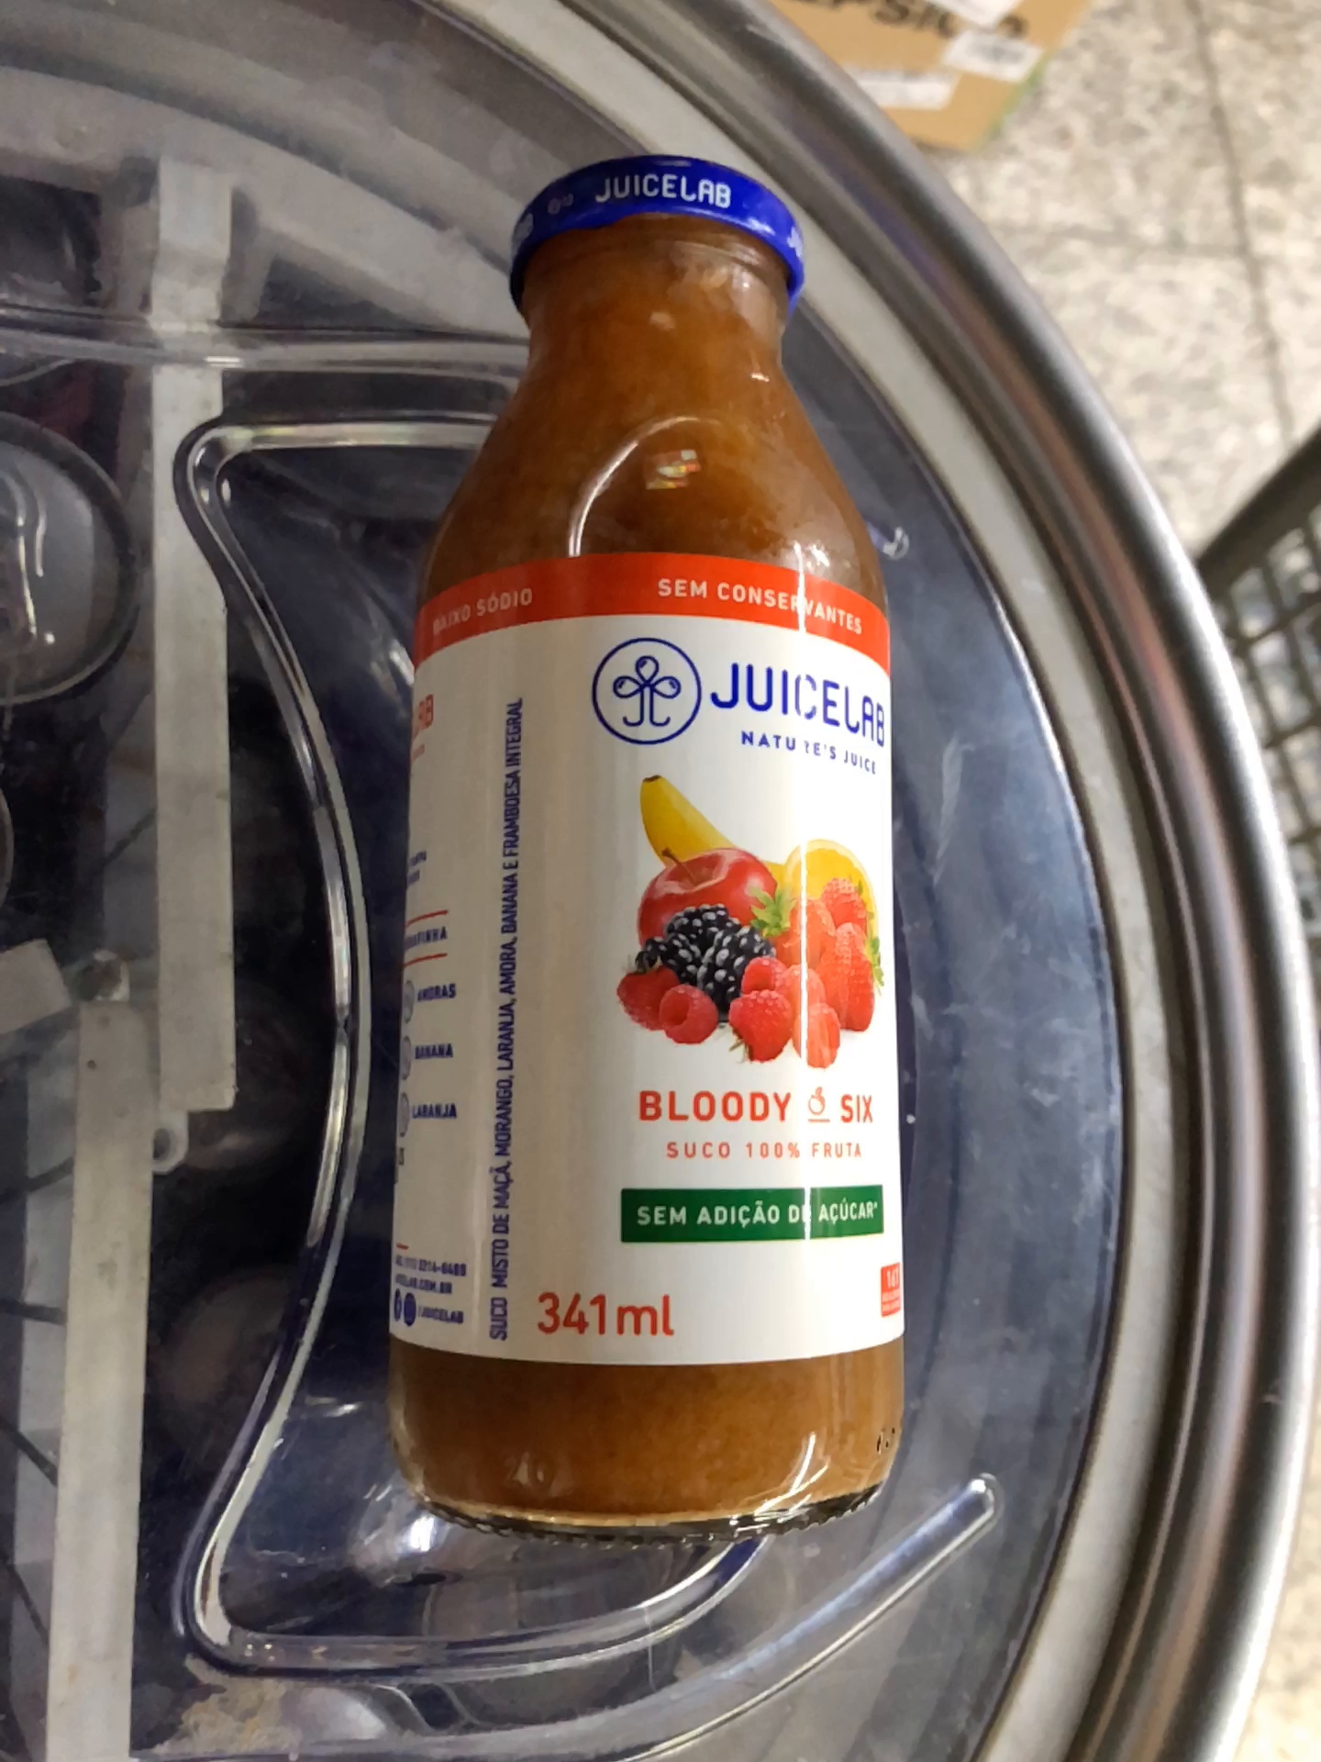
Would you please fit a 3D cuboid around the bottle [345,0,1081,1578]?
[{"bbox_3d":[0.004,-0.018,0.204,0.070,0.060,0.190,7,76,-35],"label":"bottle"}]
